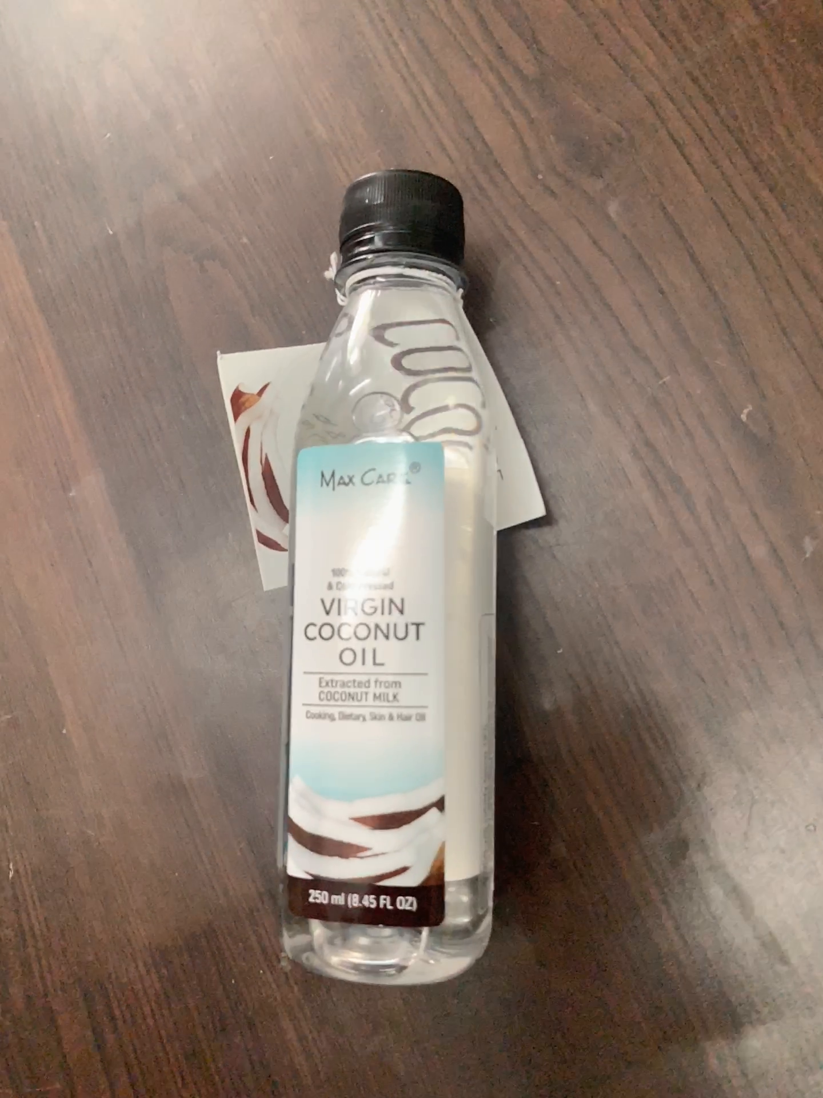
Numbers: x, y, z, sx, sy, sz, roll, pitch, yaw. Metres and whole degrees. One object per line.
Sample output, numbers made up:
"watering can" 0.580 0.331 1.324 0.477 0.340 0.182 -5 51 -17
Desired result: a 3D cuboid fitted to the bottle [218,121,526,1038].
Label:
"bottle" -0.003 0.003 0.187 0.050 0.050 0.170 0 83 13
